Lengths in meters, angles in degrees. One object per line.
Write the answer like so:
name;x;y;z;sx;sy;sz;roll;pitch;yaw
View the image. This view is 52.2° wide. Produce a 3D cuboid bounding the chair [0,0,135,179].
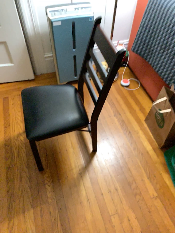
chair;-0.177;-0.096;1.077;0.550;0.866;0.492;-15;53;-13
